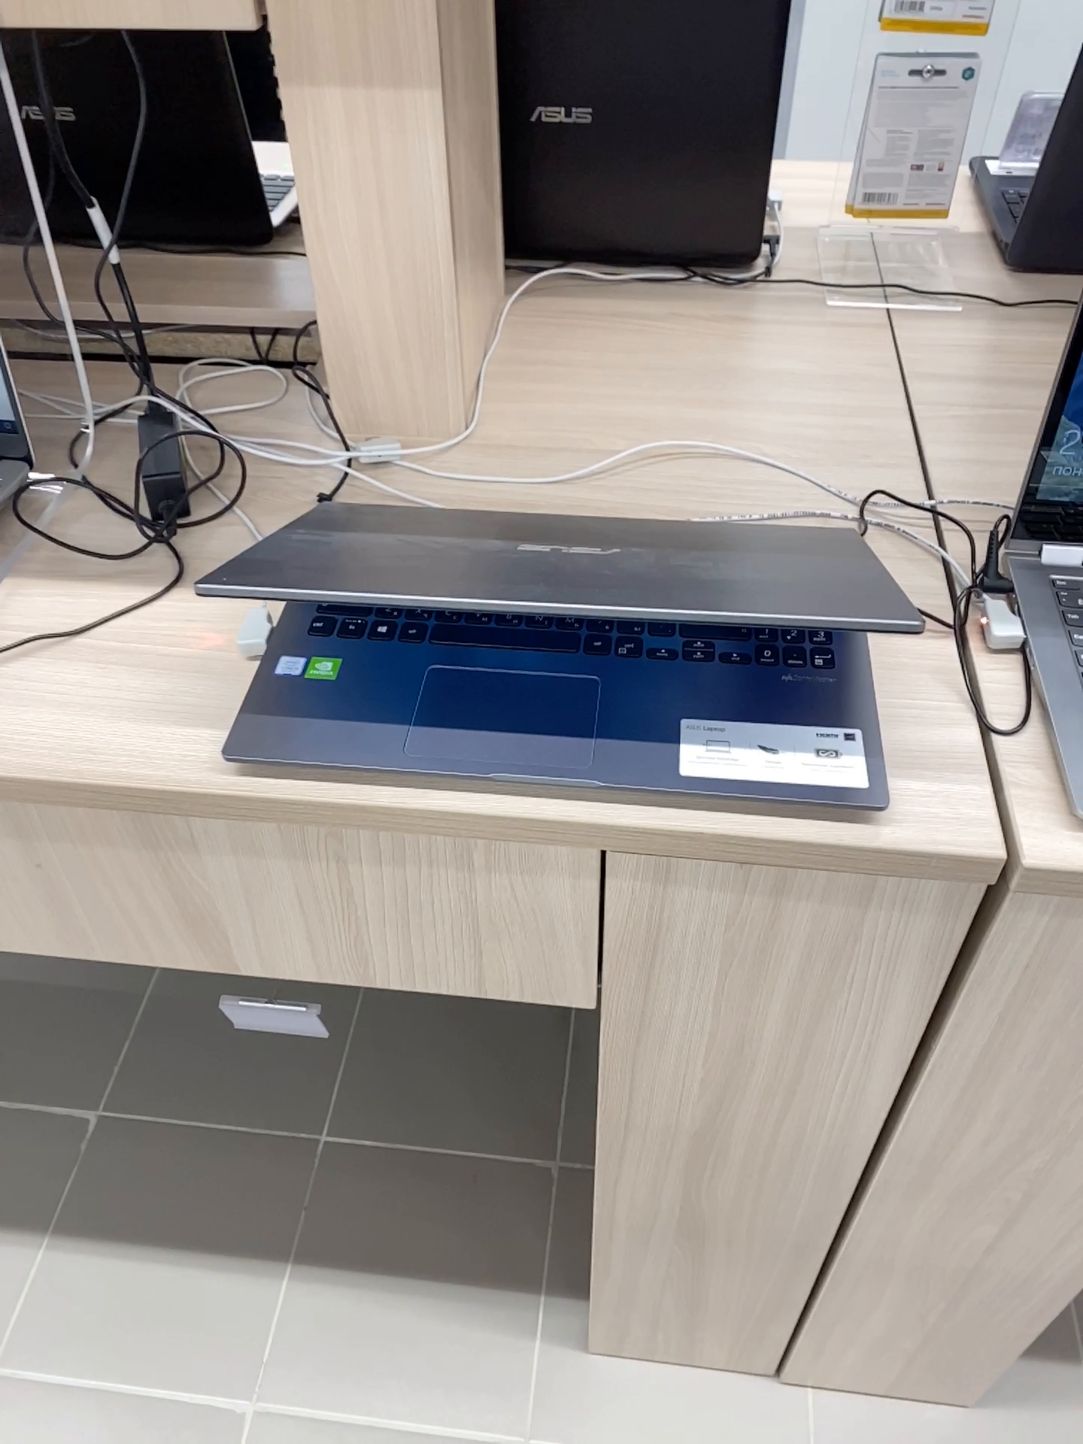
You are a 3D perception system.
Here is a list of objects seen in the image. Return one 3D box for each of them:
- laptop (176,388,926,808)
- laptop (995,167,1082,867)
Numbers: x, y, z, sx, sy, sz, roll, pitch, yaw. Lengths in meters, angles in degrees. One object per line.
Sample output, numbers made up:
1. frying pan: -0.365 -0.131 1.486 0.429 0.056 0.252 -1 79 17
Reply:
1. laptop: 0.014 -0.084 0.633 0.354 0.097 0.230 5 44 6
2. laptop: 0.465 -0.113 0.562 0.351 0.222 0.259 4 45 4
